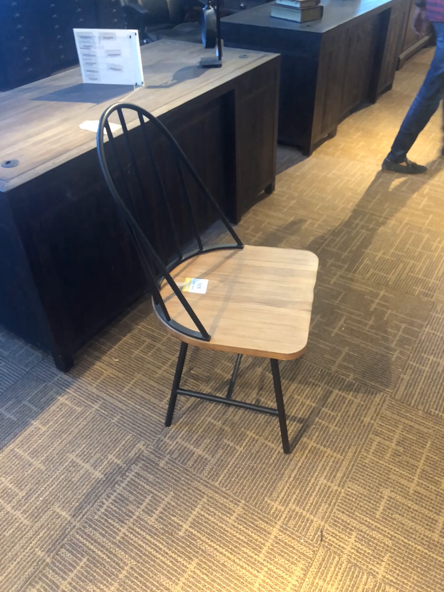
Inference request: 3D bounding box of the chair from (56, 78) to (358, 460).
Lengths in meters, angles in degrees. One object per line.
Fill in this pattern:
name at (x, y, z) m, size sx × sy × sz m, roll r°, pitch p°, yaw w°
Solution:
chair at (0.016, -0.061, 1.437) m, size 0.598 × 0.930 × 0.516 m, roll 8°, pitch 40°, yaw 10°
